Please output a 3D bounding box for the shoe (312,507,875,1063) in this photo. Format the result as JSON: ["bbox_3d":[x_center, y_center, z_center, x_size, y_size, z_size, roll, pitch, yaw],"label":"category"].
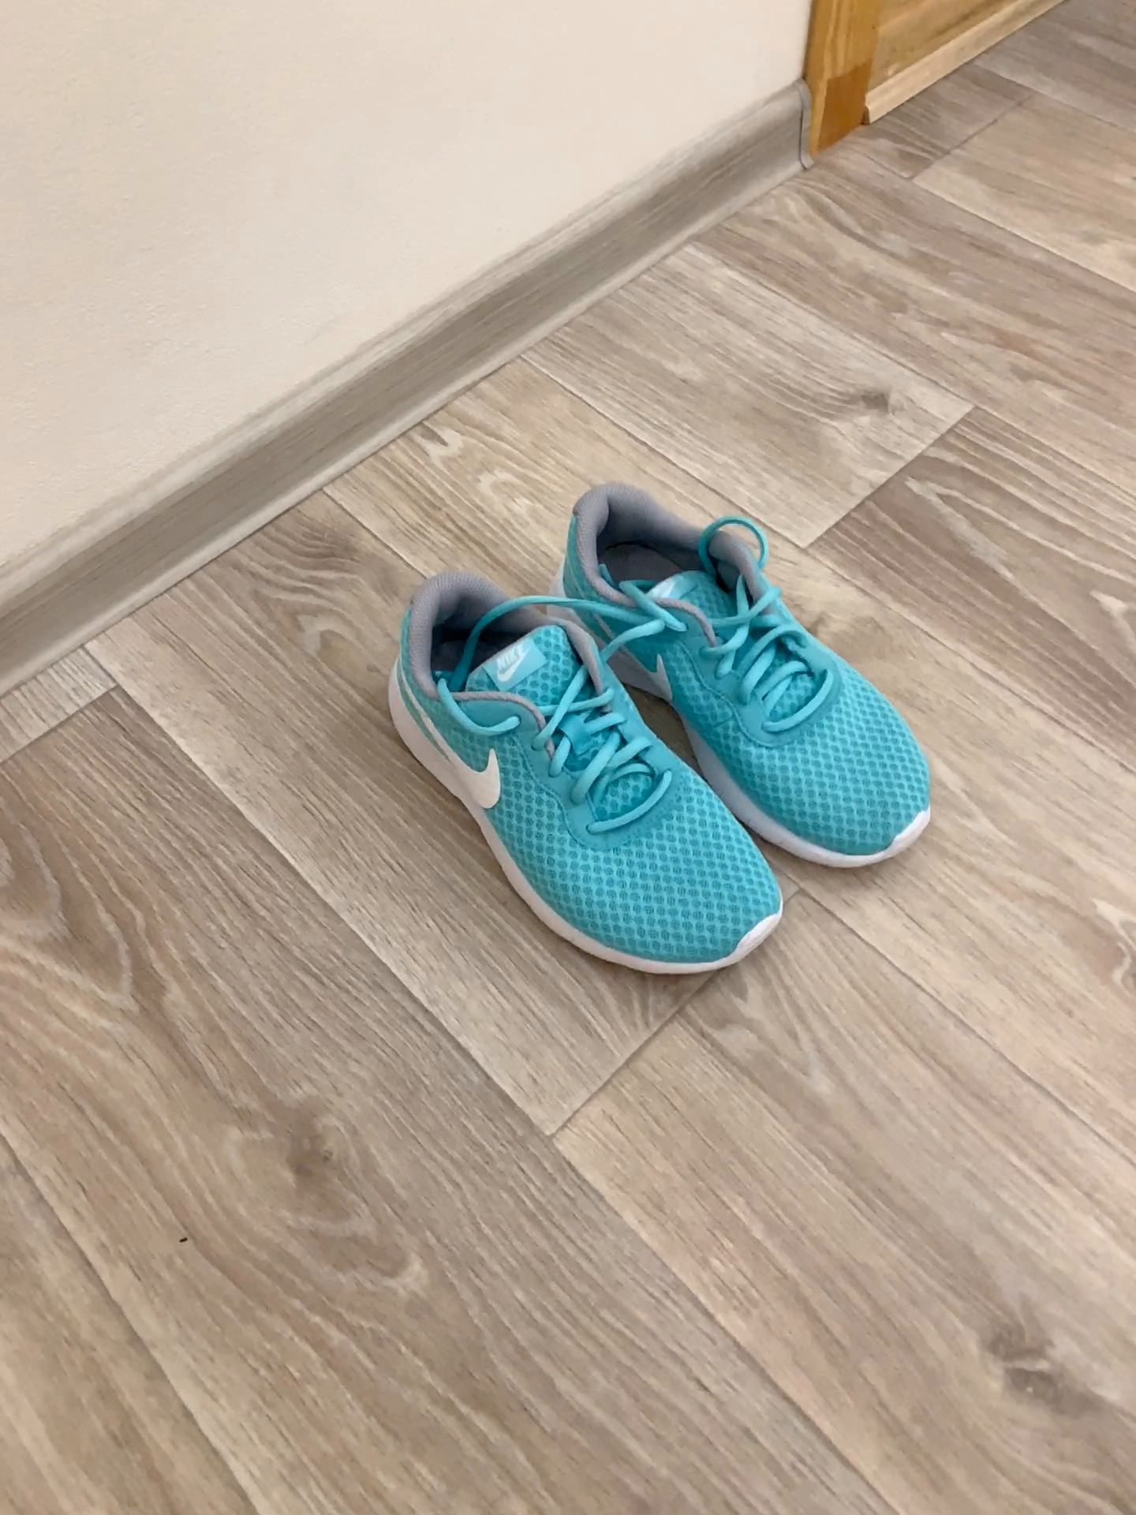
[{"bbox_3d":[0.004,0.005,0.546,0.101,0.090,0.251,-39,64,-20],"label":"shoe"}]

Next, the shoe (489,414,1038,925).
[{"bbox_3d":[0.084,-0.051,0.576,0.098,0.090,0.251,-39,64,-20],"label":"shoe"}]
